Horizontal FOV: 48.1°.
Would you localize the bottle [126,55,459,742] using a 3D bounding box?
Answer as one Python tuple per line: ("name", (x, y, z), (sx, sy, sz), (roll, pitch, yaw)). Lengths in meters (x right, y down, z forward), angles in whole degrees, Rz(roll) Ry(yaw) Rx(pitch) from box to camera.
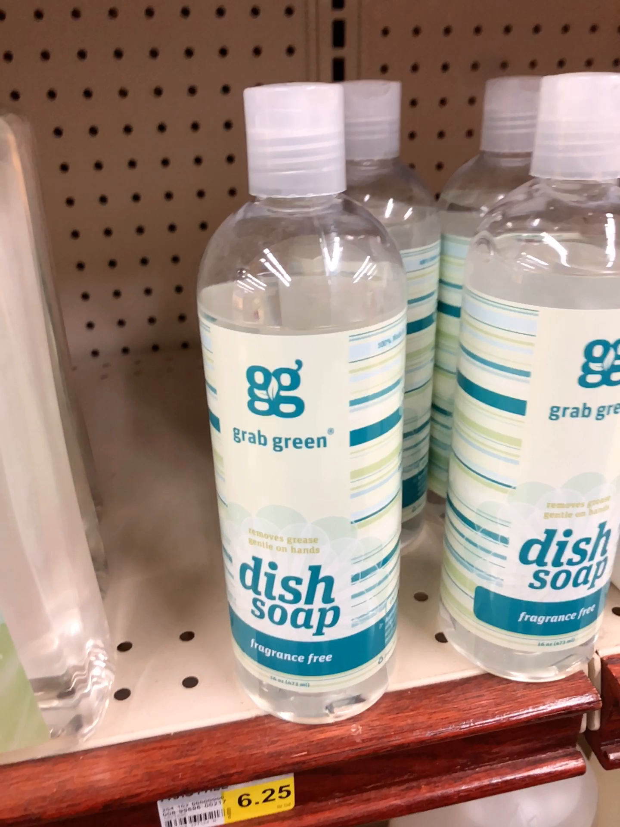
("bottle", (0.002, 0.003, 0.214), (0.070, 0.200, 0.060), (3, 27, 9))
